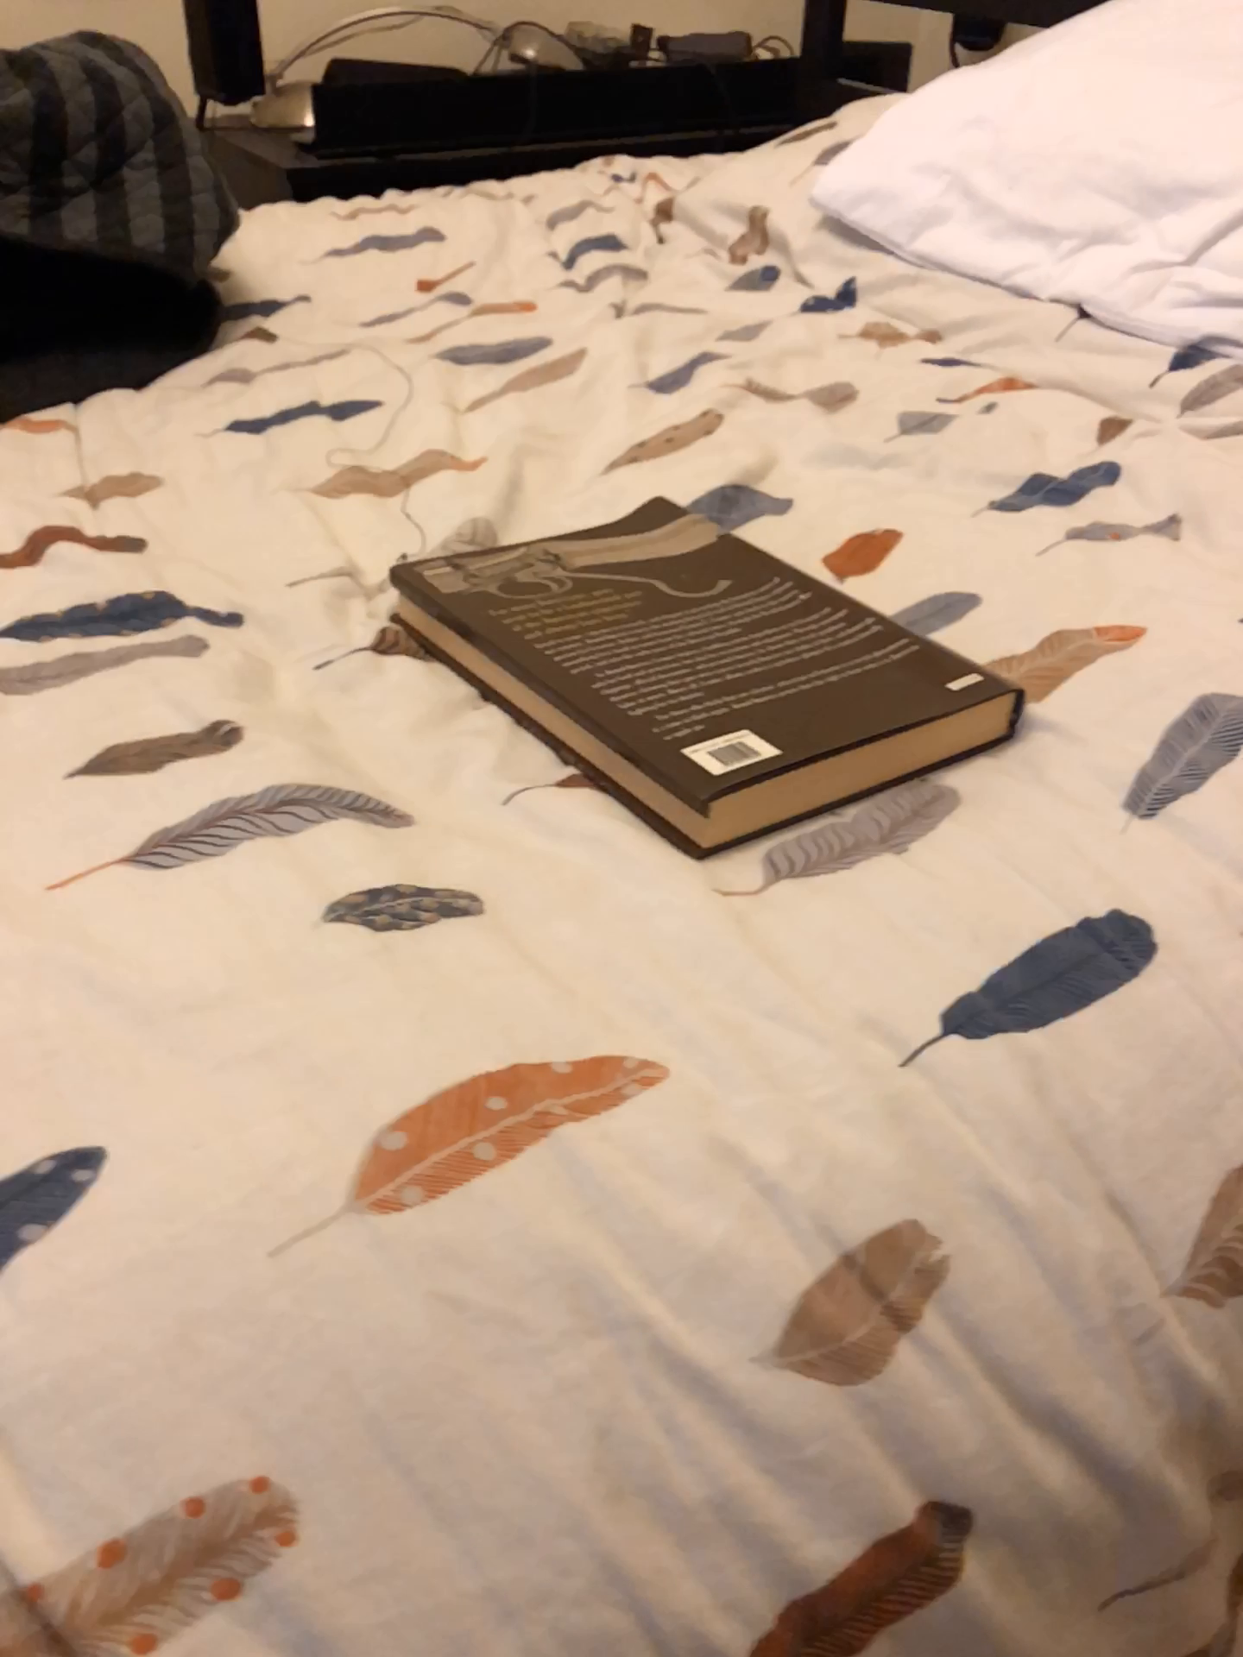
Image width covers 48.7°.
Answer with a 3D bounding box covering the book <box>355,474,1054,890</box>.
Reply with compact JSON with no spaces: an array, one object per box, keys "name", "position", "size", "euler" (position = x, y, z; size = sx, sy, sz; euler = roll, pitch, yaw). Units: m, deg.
[{"name":"book","position":[0.024,-0.079,0.574],"size":[0.180,0.030,0.241],"euler":[-20,41,-28]}]
